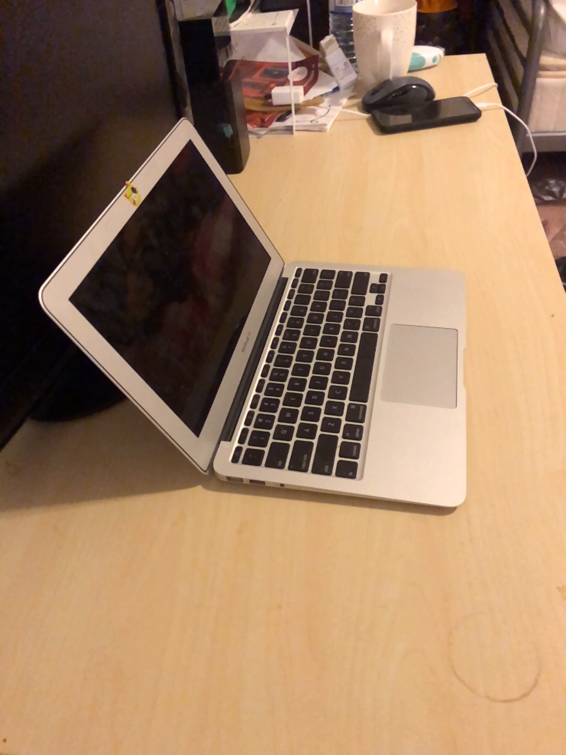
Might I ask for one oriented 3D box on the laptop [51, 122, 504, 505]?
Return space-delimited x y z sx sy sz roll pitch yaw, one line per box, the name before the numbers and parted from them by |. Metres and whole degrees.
laptop | 0.020 -0.078 0.523 0.274 0.160 0.292 5 44 11
